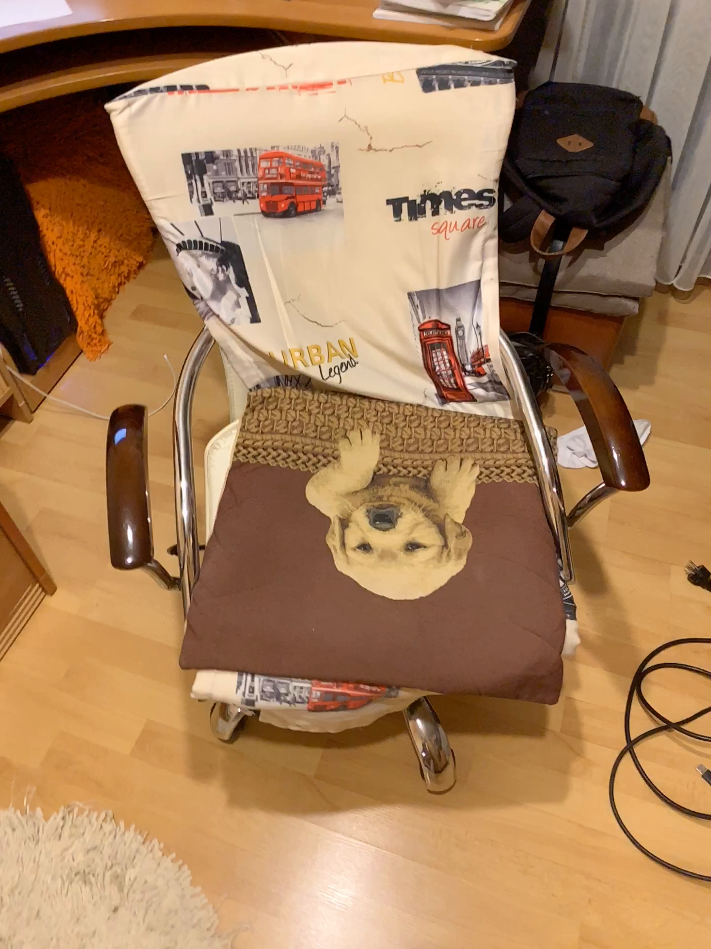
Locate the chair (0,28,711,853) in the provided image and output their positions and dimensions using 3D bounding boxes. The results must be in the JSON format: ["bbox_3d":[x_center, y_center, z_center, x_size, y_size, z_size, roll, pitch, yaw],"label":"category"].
[{"bbox_3d":[0.009,-0.006,0.805,0.475,0.665,0.568,-7,51,-6],"label":"chair"}]
